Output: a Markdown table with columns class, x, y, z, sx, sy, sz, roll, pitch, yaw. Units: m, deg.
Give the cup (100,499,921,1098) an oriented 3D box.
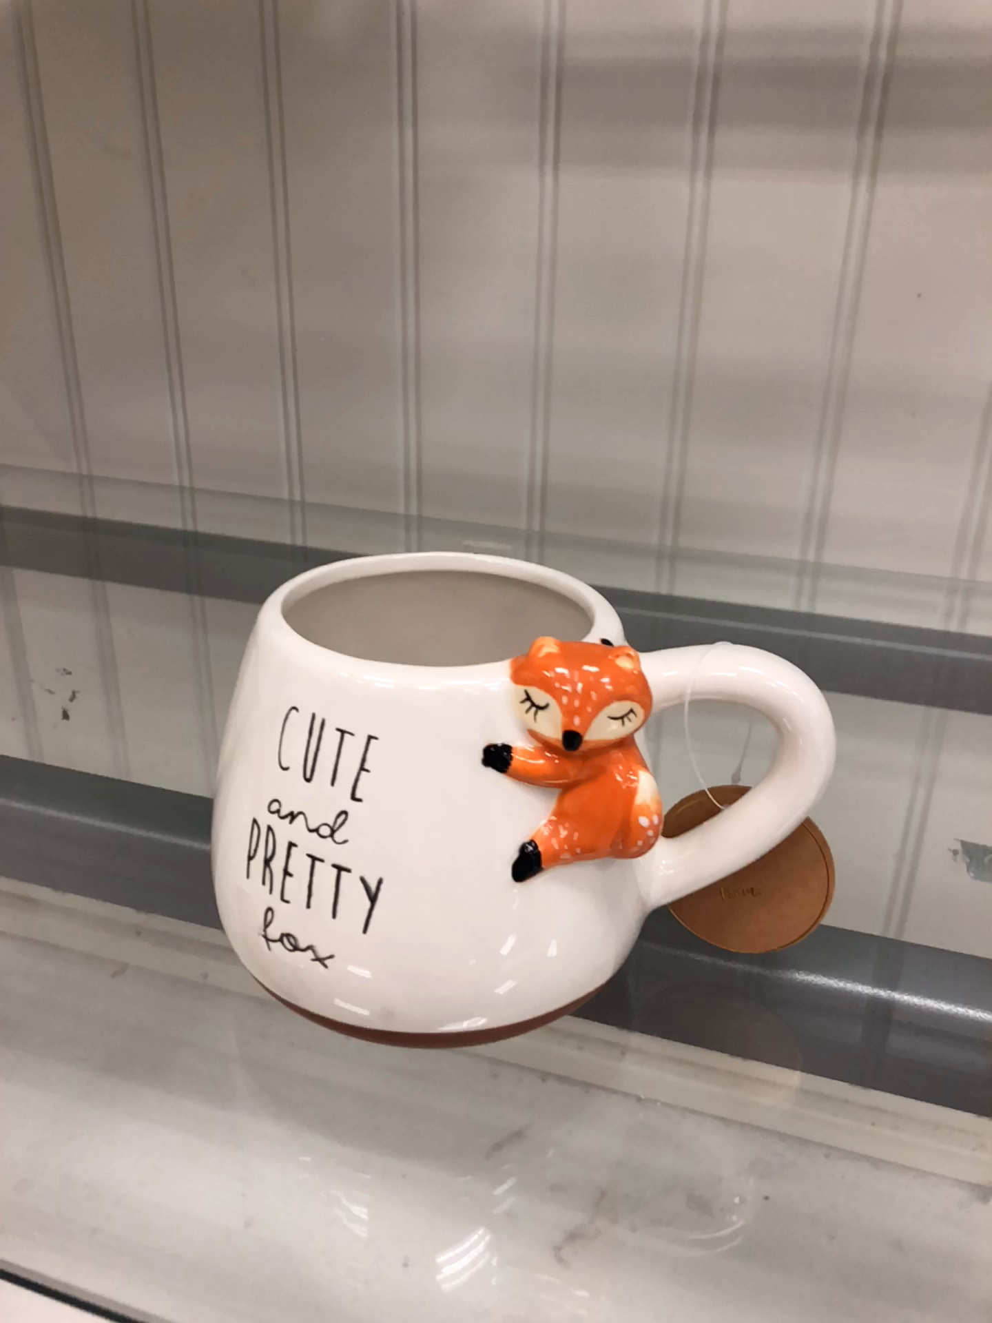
| class | x | y | z | sx | sy | sz | roll | pitch | yaw |
| --- | --- | --- | --- | --- | --- | --- | --- | --- | --- |
| cup | 0.004 | 0.023 | 0.255 | 0.143 | 0.089 | 0.101 | 3 | 24 | 4 |
